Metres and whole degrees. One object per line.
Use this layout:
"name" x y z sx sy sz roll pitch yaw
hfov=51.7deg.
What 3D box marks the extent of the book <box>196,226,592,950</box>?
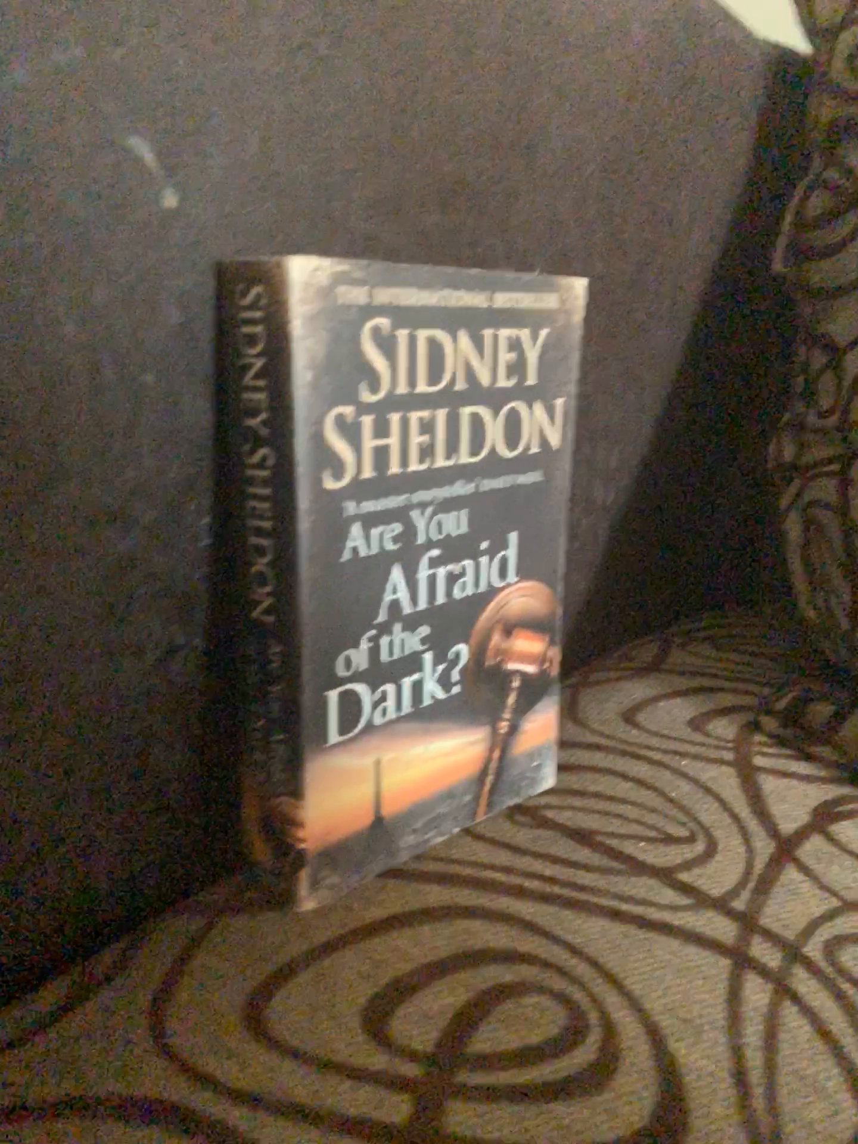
"book" -0.007 -0.001 0.270 0.040 0.179 0.120 13 16 40
